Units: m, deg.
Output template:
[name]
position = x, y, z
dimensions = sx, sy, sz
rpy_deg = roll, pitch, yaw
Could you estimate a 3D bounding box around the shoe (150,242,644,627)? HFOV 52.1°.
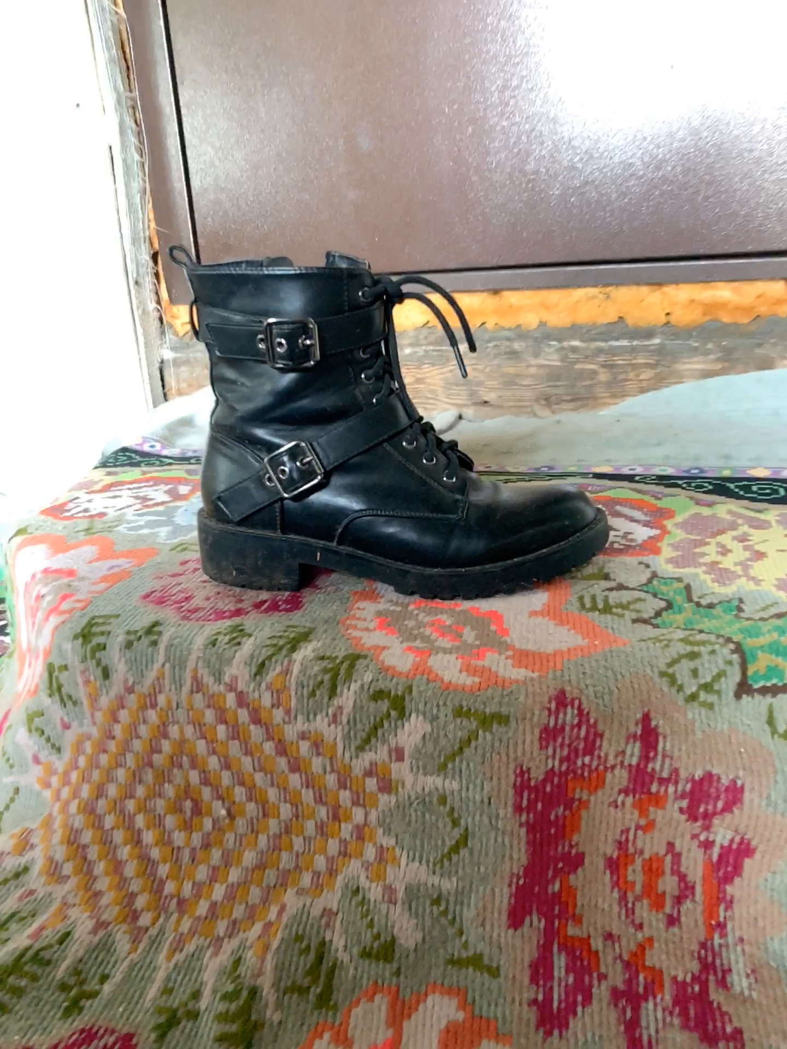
[shoe]
position = 0.009, -0.052, 0.454
dimensions = 0.240, 0.189, 0.091
rpy_deg = 0, 18, 11
